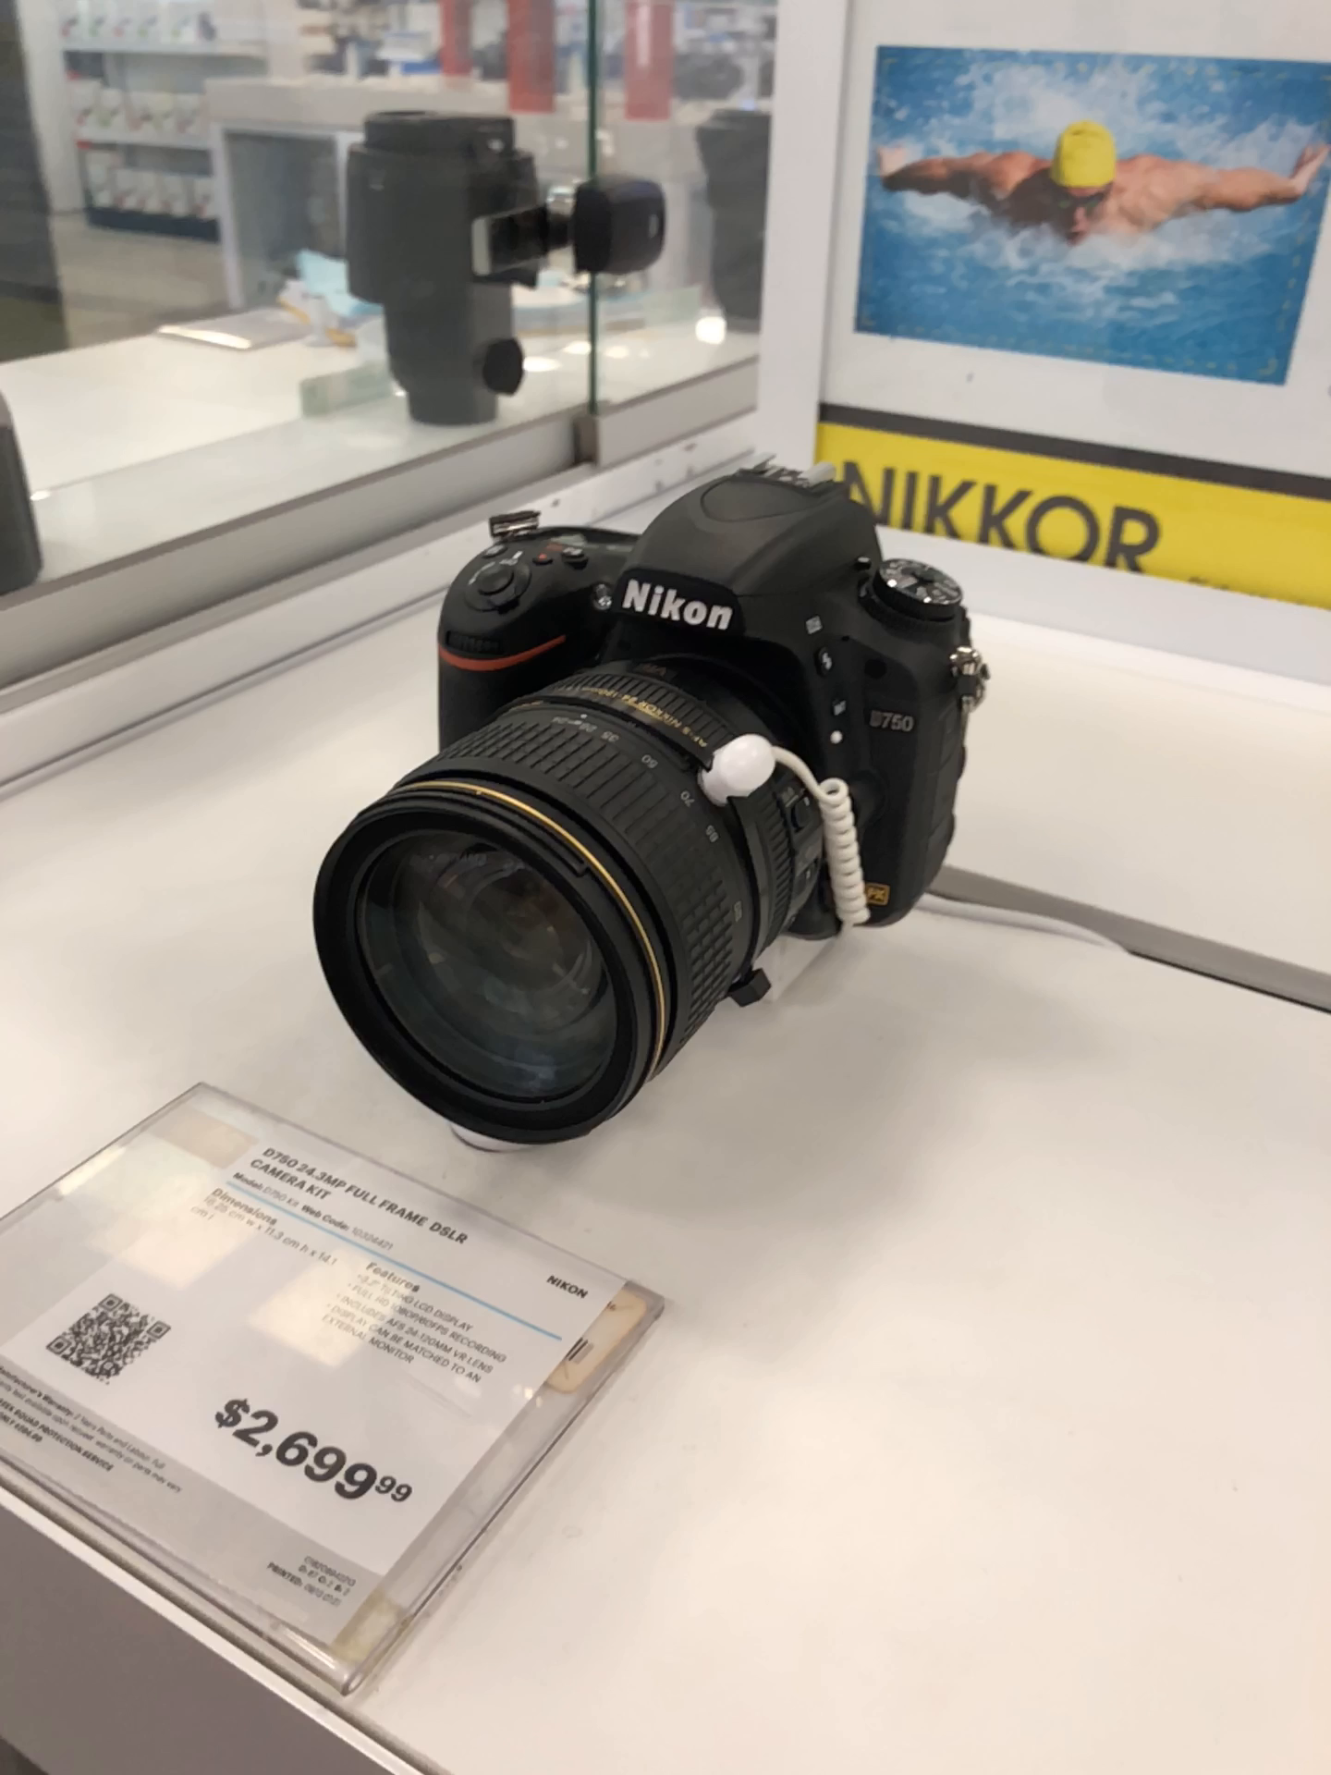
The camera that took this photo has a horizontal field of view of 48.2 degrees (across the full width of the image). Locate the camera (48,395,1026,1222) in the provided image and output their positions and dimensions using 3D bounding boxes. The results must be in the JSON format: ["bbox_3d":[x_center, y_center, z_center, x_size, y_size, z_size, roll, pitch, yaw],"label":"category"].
[{"bbox_3d":[-0.018,-0.038,0.360,0.150,0.110,0.171,16,33,24],"label":"camera"}]
